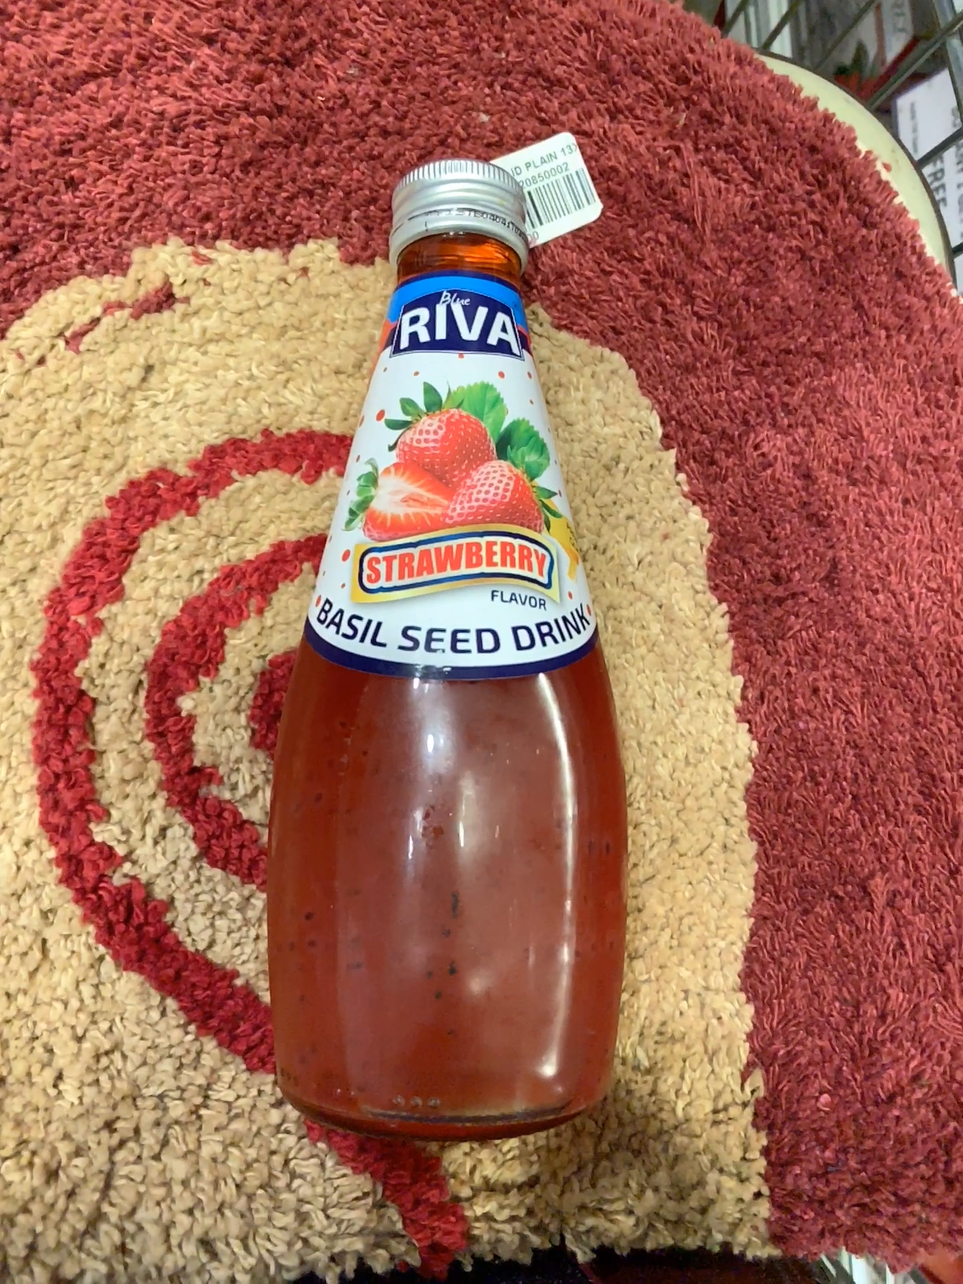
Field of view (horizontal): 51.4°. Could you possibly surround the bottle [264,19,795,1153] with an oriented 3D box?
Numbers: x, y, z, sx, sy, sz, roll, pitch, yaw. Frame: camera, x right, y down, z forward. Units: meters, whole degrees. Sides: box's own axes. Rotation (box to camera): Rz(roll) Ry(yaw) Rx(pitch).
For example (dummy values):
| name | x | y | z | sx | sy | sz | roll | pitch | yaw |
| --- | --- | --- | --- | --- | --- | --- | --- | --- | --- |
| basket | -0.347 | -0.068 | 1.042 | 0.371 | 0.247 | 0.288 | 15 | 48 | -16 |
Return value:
| name | x | y | z | sx | sy | sz | roll | pitch | yaw |
| --- | --- | --- | --- | --- | --- | --- | --- | --- | --- |
| bottle | 0.006 | -0.009 | 0.167 | 0.070 | 0.050 | 0.160 | 3 | 80 | -9 |
